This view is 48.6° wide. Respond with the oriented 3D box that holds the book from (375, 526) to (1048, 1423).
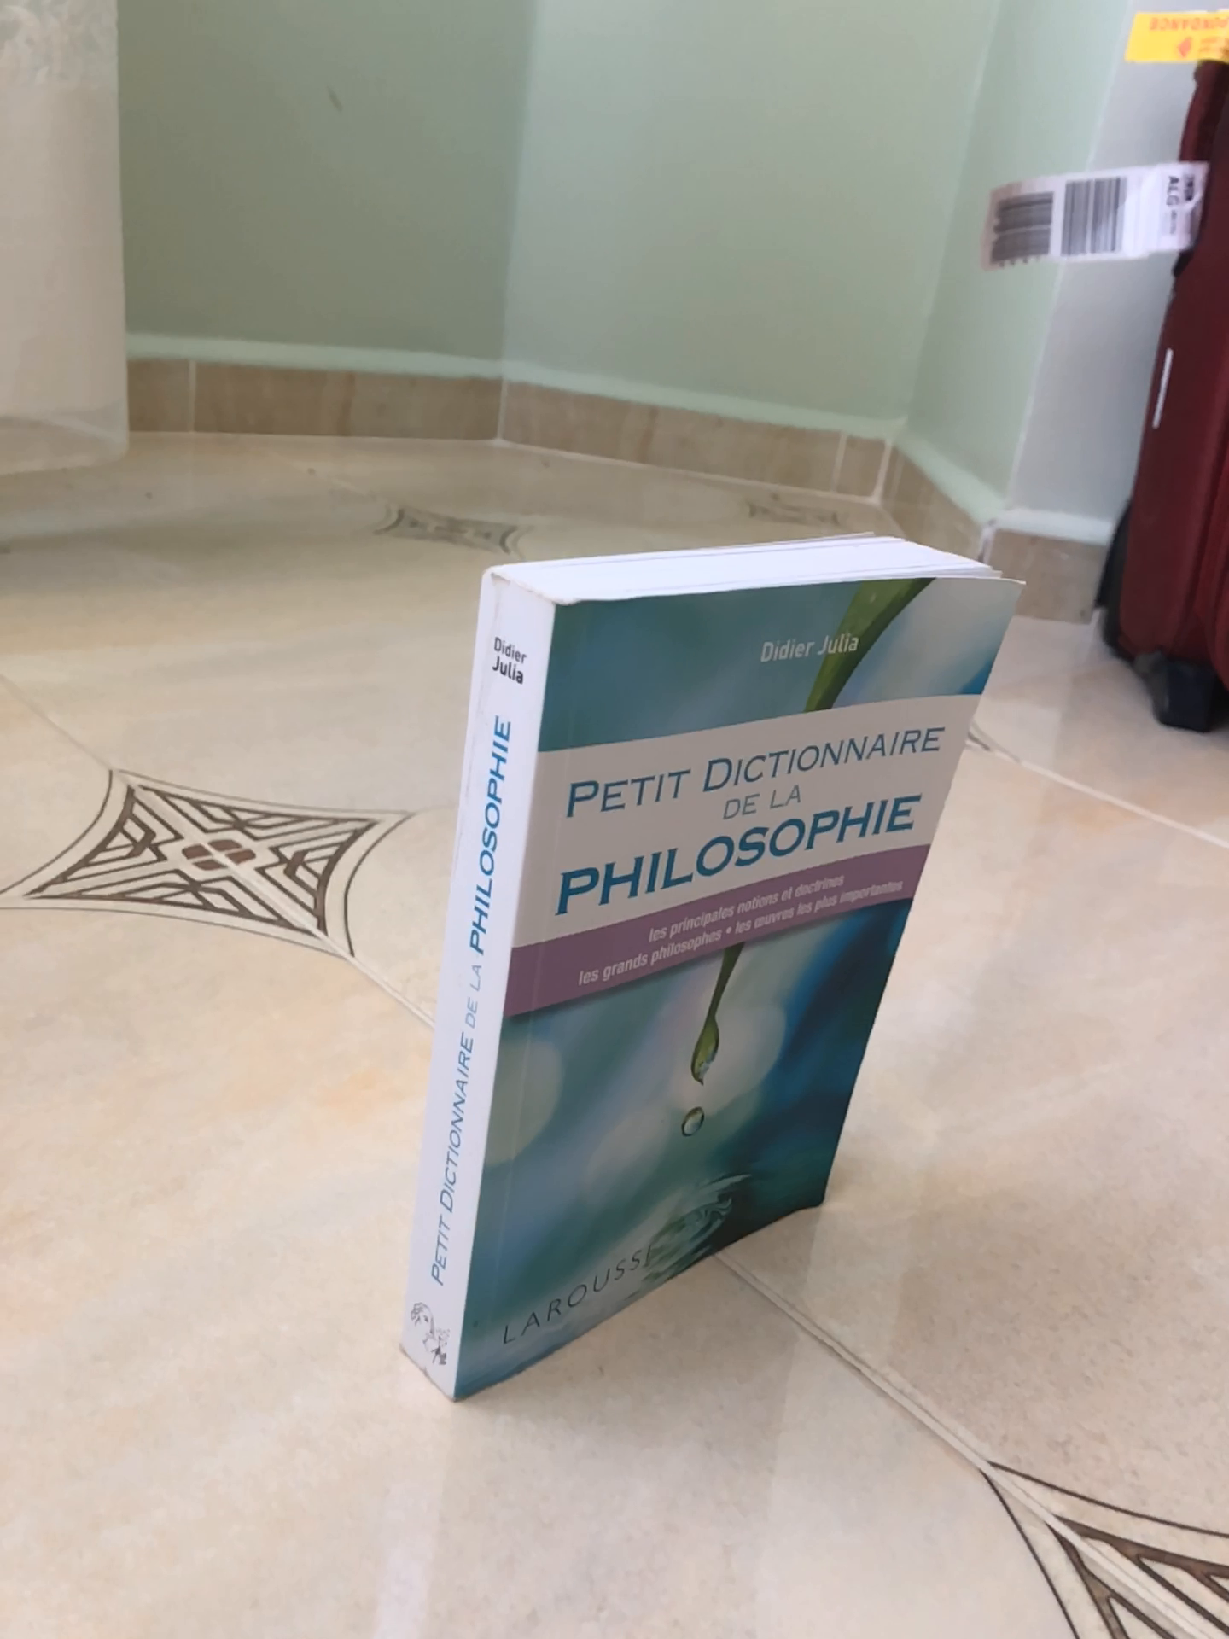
[{"bbox_3d":[0.022,0.030,0.317,0.140,0.185,0.034,-13,33,-41],"label":"book"}]
